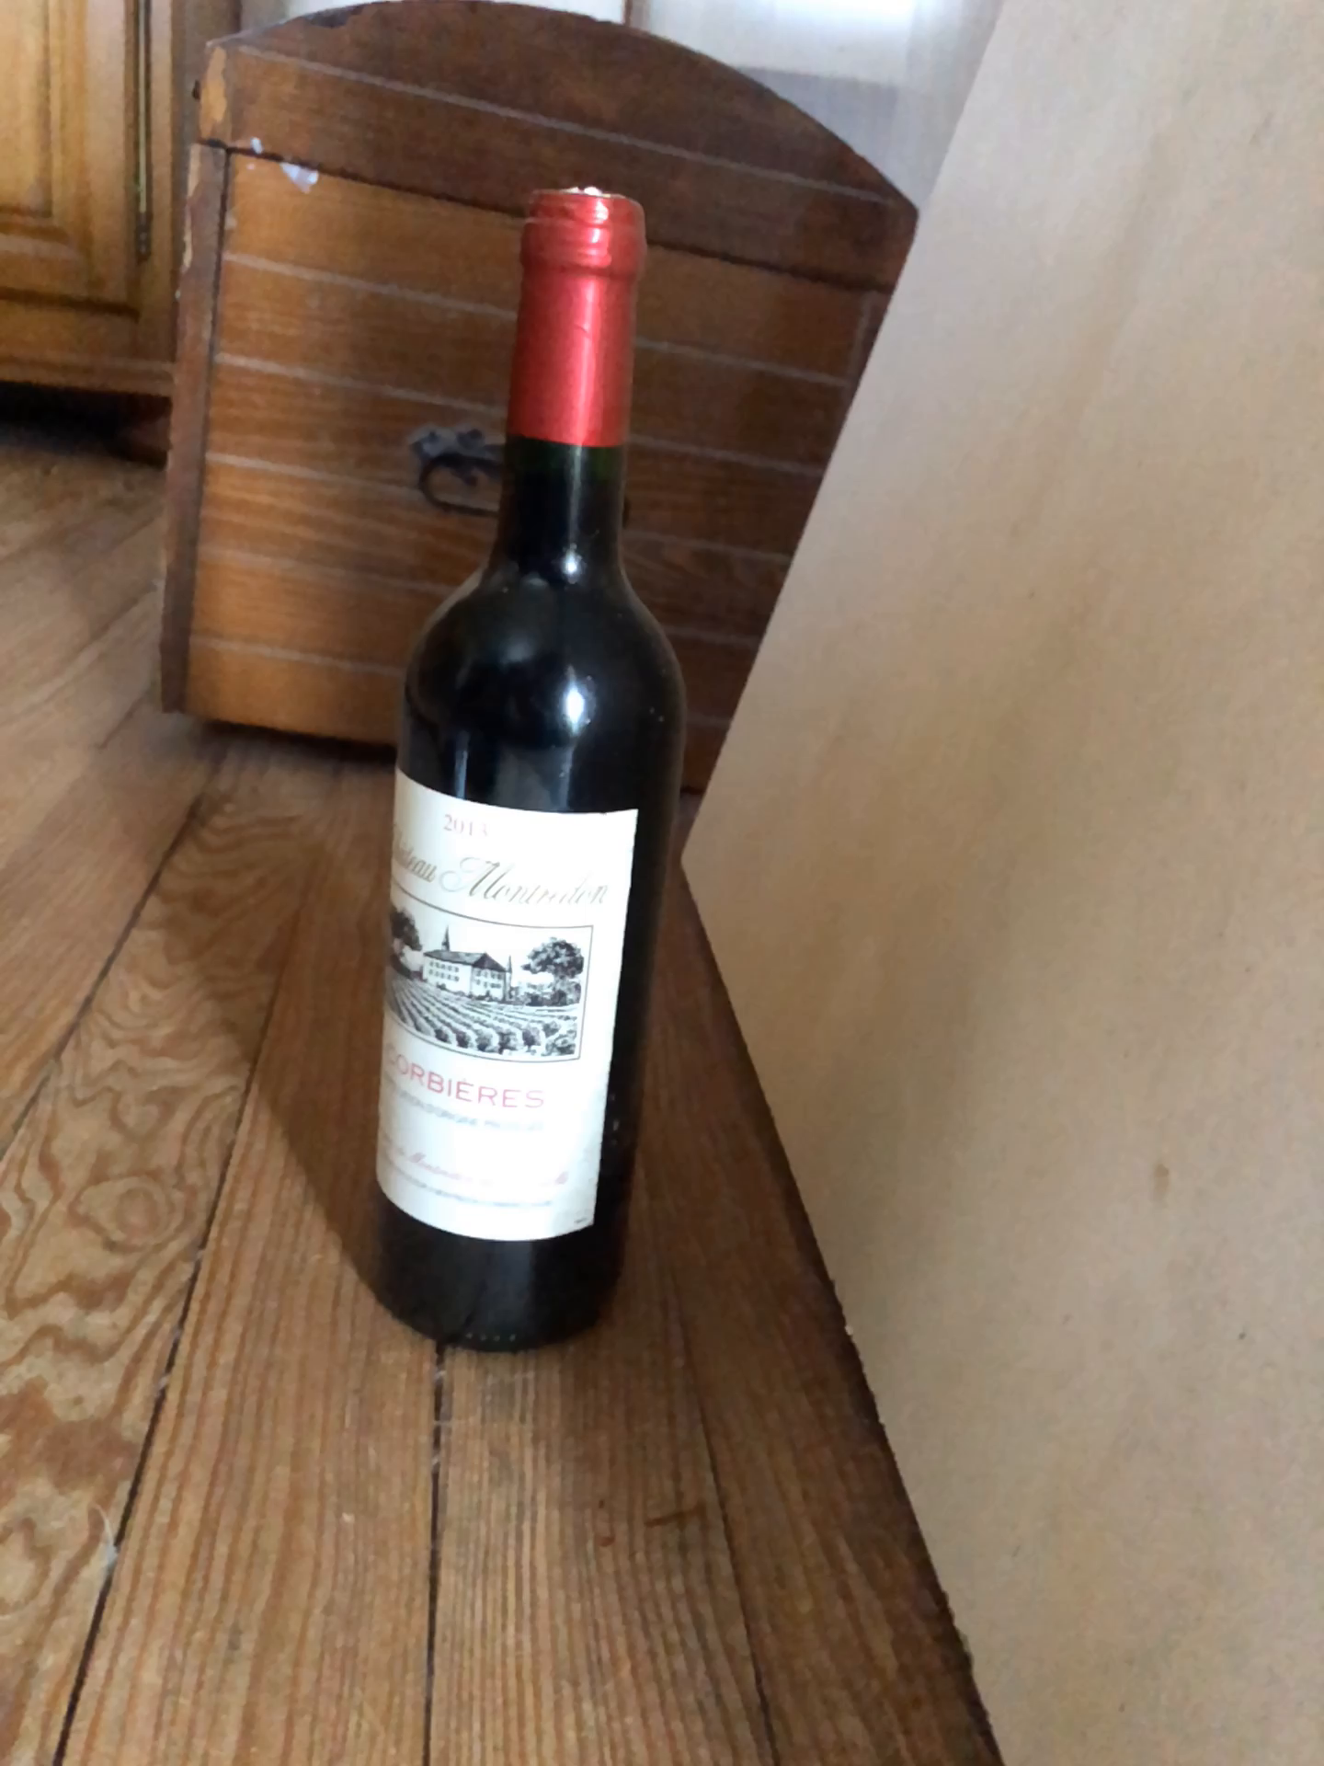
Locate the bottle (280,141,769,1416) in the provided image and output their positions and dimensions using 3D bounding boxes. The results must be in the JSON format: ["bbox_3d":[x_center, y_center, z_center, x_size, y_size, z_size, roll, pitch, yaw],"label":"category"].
[{"bbox_3d":[-0.040,-0.019,0.367,0.080,0.289,0.070,14,22,20],"label":"bottle"}]
